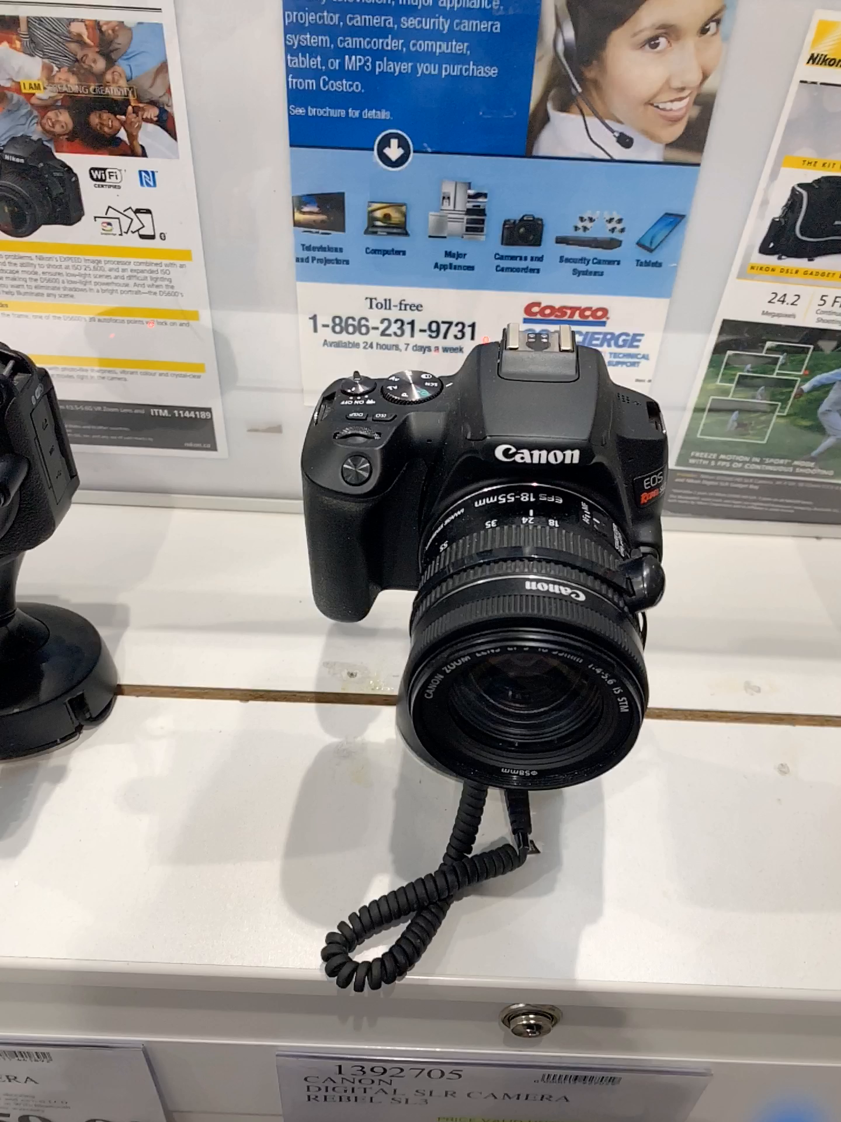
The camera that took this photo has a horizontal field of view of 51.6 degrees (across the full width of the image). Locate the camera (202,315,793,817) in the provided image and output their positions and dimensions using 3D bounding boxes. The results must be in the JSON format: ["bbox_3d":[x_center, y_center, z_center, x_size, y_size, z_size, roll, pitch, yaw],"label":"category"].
[{"bbox_3d":[0.018,-0.003,0.248,0.120,0.089,0.111,1,40,2],"label":"camera"}]
